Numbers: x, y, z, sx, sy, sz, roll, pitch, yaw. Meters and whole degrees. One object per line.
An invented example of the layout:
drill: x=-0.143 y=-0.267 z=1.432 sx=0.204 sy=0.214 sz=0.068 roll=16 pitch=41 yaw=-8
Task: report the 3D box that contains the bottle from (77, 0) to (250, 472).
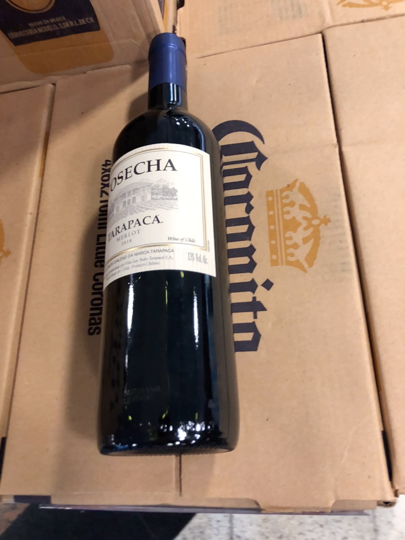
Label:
bottle: x=-0.030 y=-0.057 z=0.287 sx=0.070 sy=0.060 sz=0.331 roll=-5 pitch=61 yaw=-2
